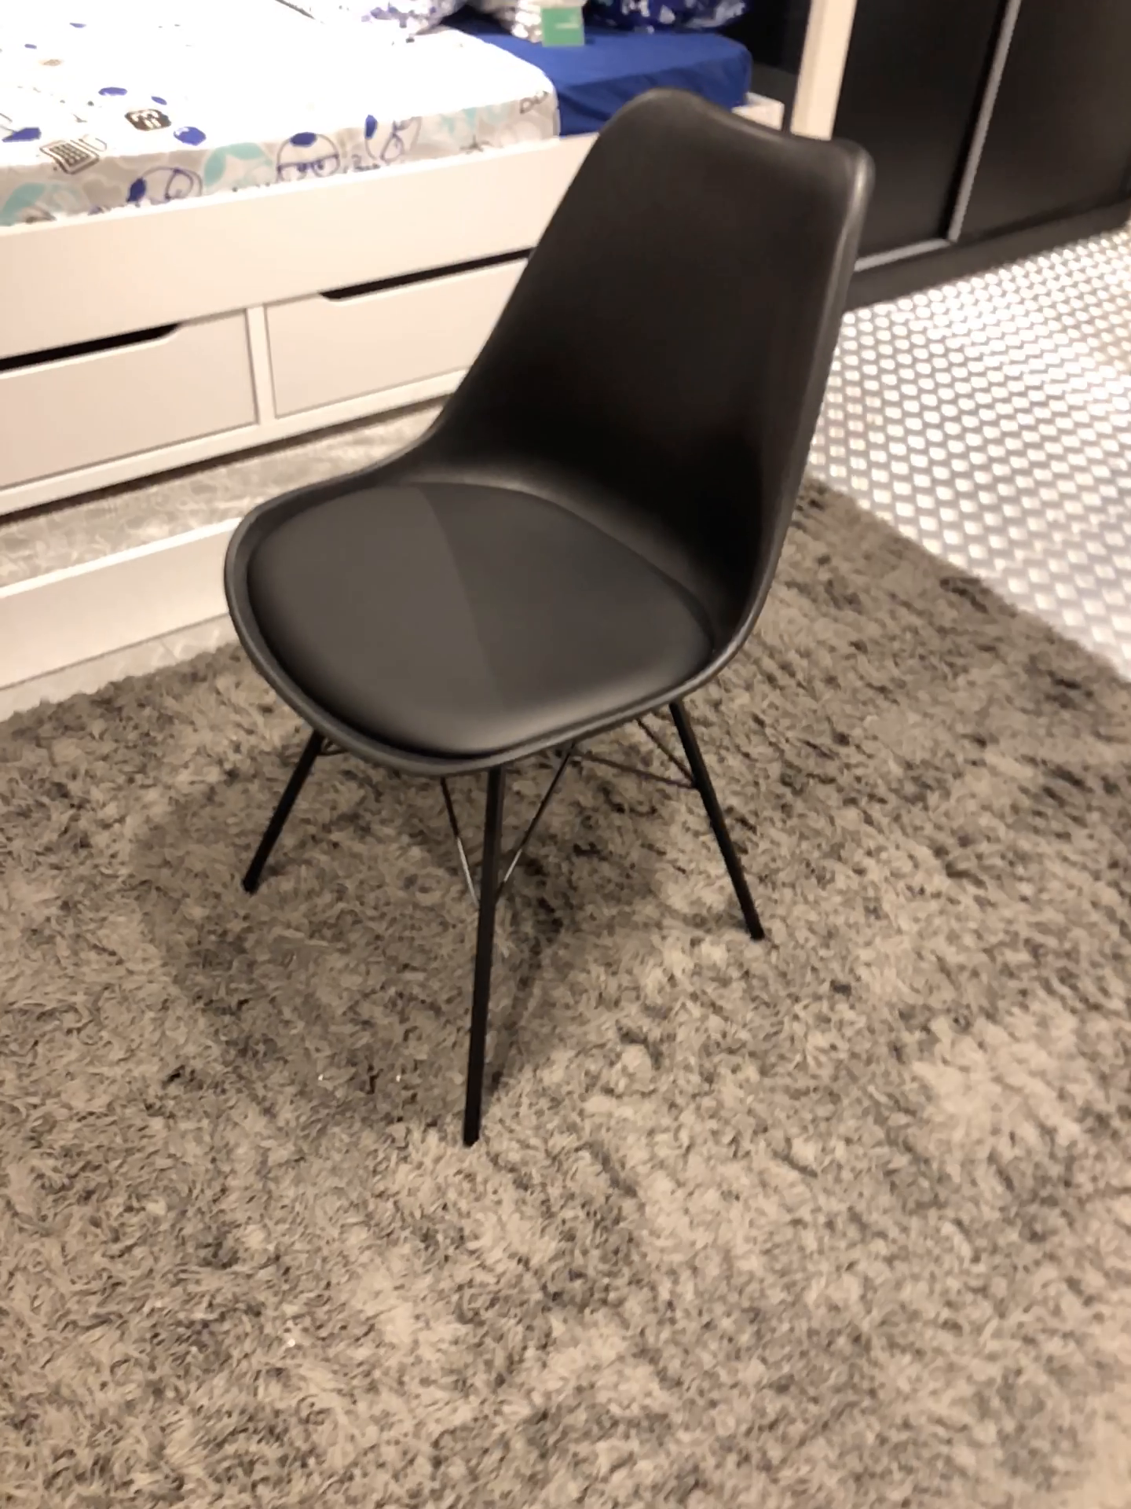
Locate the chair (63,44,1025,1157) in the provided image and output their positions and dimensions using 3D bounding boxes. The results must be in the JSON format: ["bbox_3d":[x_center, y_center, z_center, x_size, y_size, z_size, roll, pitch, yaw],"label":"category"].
[{"bbox_3d":[-0.047,-0.160,1.216,0.532,0.804,0.522,-25,49,-30],"label":"chair"}]
